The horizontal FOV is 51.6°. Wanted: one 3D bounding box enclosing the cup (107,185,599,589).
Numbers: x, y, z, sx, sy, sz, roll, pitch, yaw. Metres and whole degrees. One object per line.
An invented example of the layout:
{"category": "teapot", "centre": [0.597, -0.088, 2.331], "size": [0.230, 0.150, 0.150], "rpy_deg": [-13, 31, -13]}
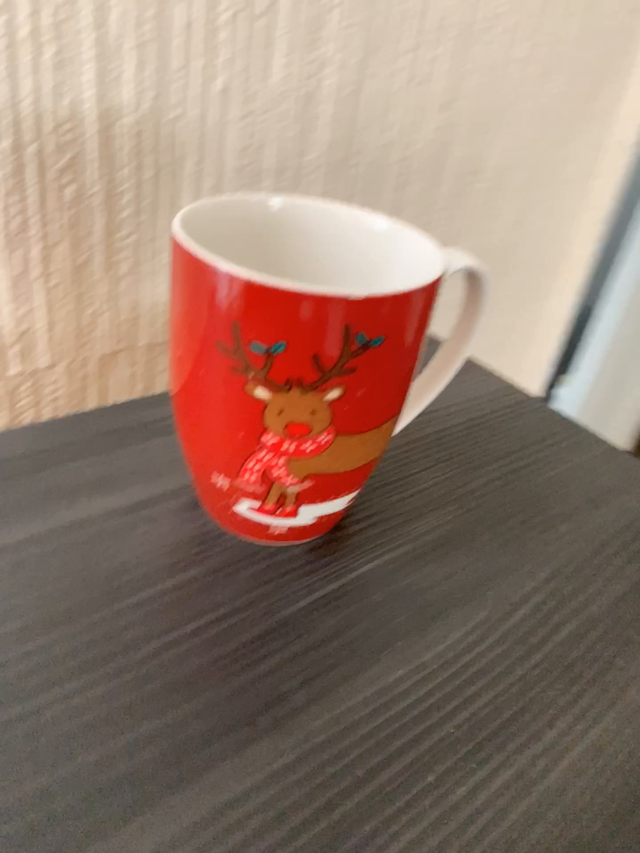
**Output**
{"category": "cup", "centre": [0.004, -0.025, 0.234], "size": [0.130, 0.089, 0.091], "rpy_deg": [-11, 39, -30]}
